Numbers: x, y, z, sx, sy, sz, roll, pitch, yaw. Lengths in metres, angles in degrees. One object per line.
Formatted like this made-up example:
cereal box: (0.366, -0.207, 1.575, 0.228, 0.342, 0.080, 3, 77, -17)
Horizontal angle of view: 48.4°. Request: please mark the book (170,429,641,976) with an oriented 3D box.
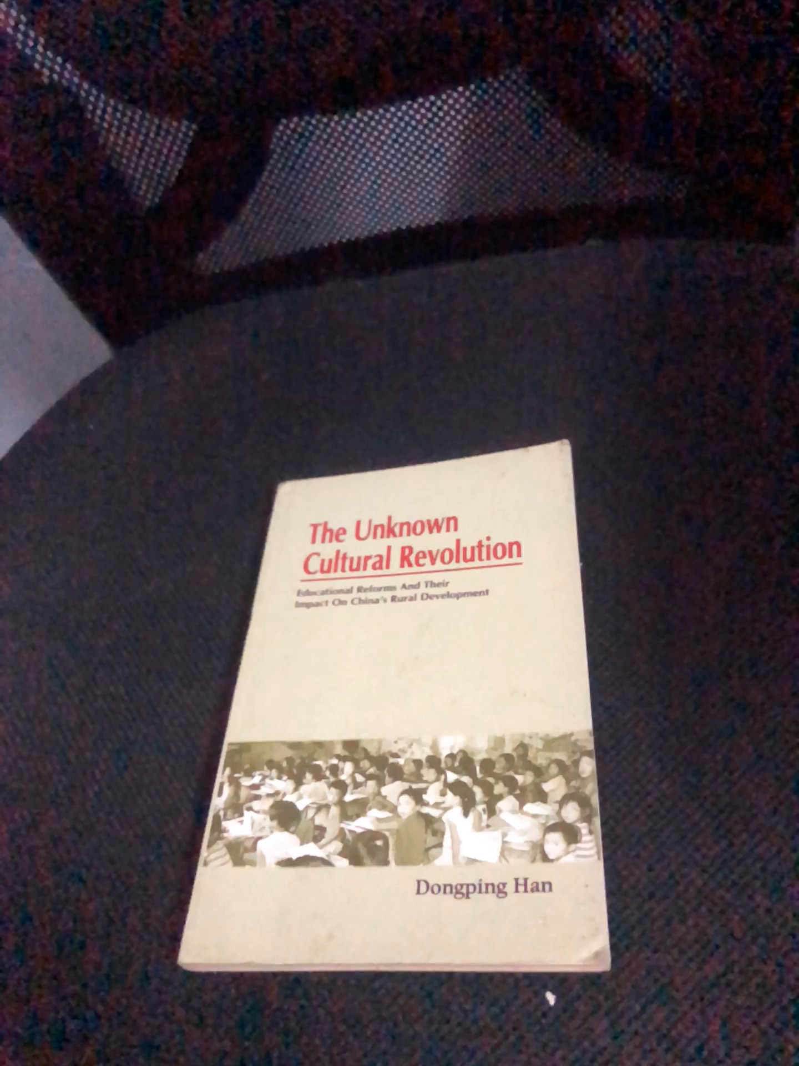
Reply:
book: (0.006, 0.054, 0.351, 0.154, 0.017, 0.214, -6, 53, 14)
